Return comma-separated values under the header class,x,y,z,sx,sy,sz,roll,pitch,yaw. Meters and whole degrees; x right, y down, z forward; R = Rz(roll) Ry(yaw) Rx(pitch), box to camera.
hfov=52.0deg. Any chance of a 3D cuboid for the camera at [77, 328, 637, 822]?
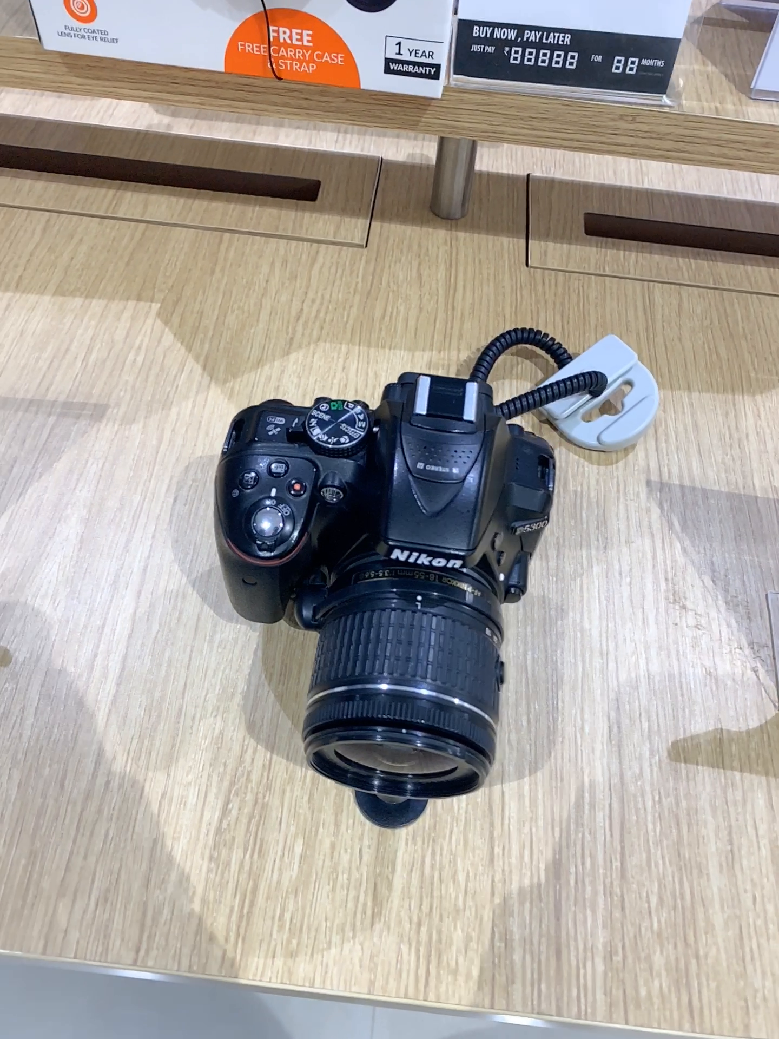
class,x,y,z,sx,sy,sz,roll,pitch,yaw
camera,-0.005,0.018,0.251,0.130,0.080,0.120,5,57,0
